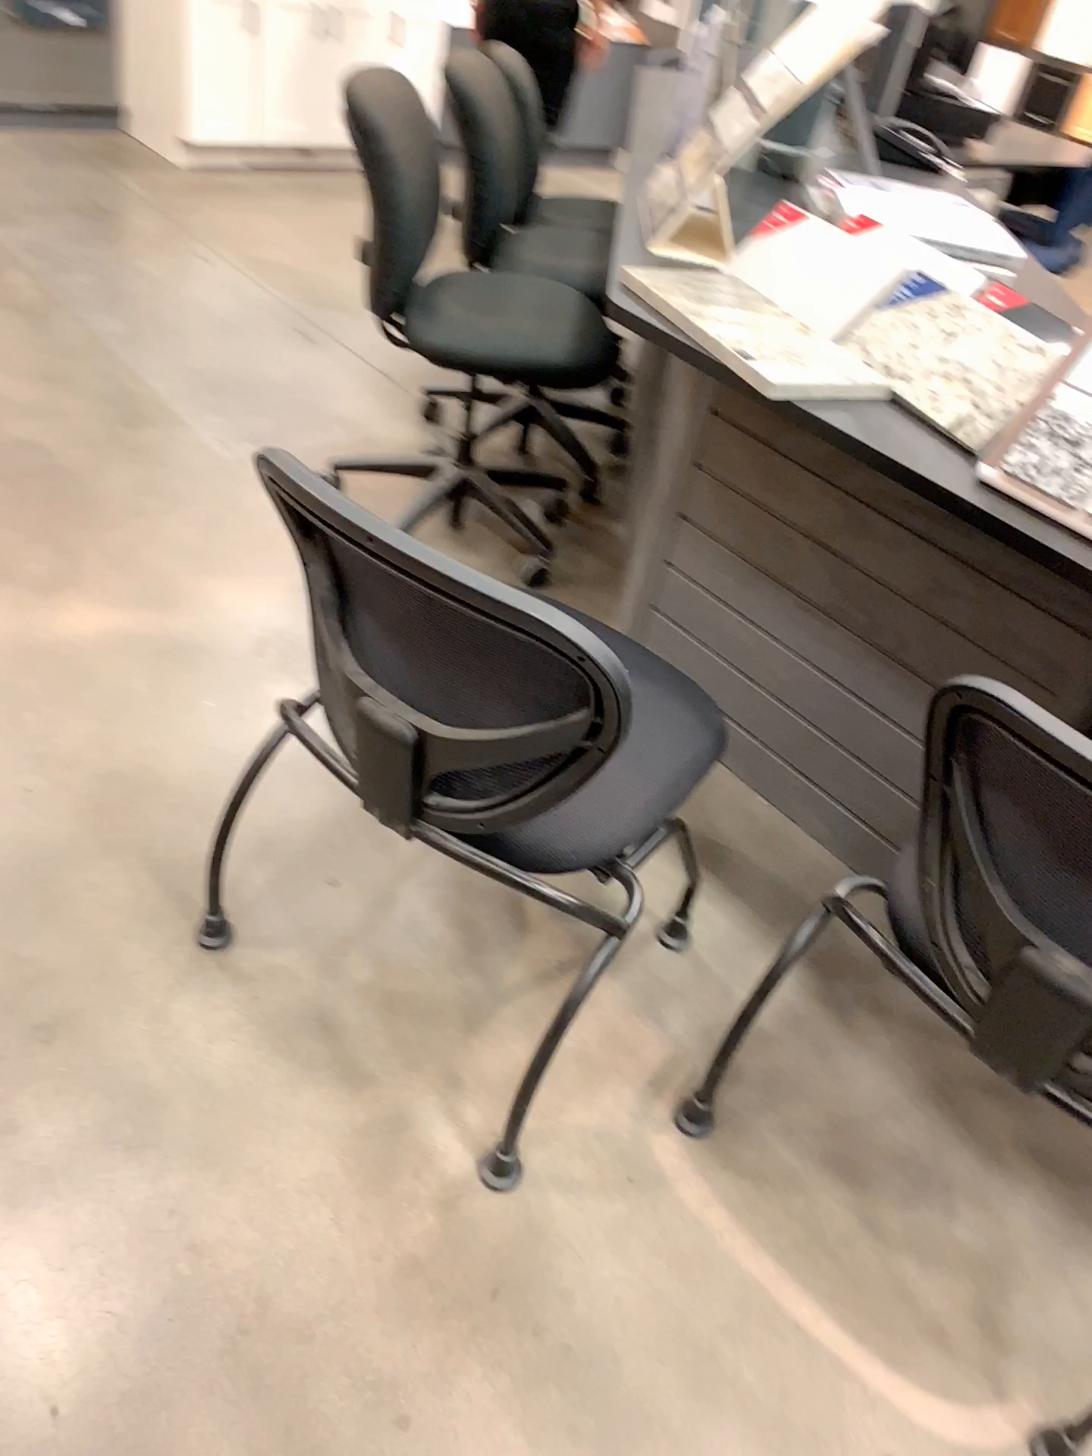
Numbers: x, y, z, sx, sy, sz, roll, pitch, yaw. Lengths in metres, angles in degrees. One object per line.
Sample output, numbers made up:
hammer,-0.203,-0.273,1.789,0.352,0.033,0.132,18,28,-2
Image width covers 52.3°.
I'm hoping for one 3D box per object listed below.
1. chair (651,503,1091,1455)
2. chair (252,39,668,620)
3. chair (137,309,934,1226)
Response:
chair,0.616,0.285,1.243,0.586,0.777,0.595,-22,49,-37
chair,-0.188,-0.862,2.407,0.644,0.886,0.708,14,39,2
chair,-0.047,0.014,1.391,0.605,0.777,0.597,31,41,22
